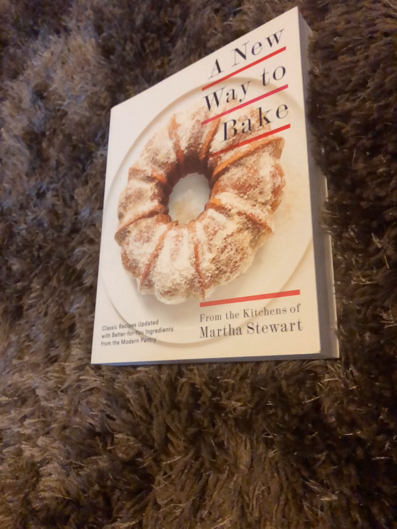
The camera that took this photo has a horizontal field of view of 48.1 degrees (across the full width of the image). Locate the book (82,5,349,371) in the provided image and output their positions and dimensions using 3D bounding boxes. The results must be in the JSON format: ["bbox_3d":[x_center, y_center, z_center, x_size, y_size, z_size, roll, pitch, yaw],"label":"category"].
[{"bbox_3d":[0.000,-0.042,0.333,0.193,0.040,0.229,-12,69,36],"label":"book"}]
